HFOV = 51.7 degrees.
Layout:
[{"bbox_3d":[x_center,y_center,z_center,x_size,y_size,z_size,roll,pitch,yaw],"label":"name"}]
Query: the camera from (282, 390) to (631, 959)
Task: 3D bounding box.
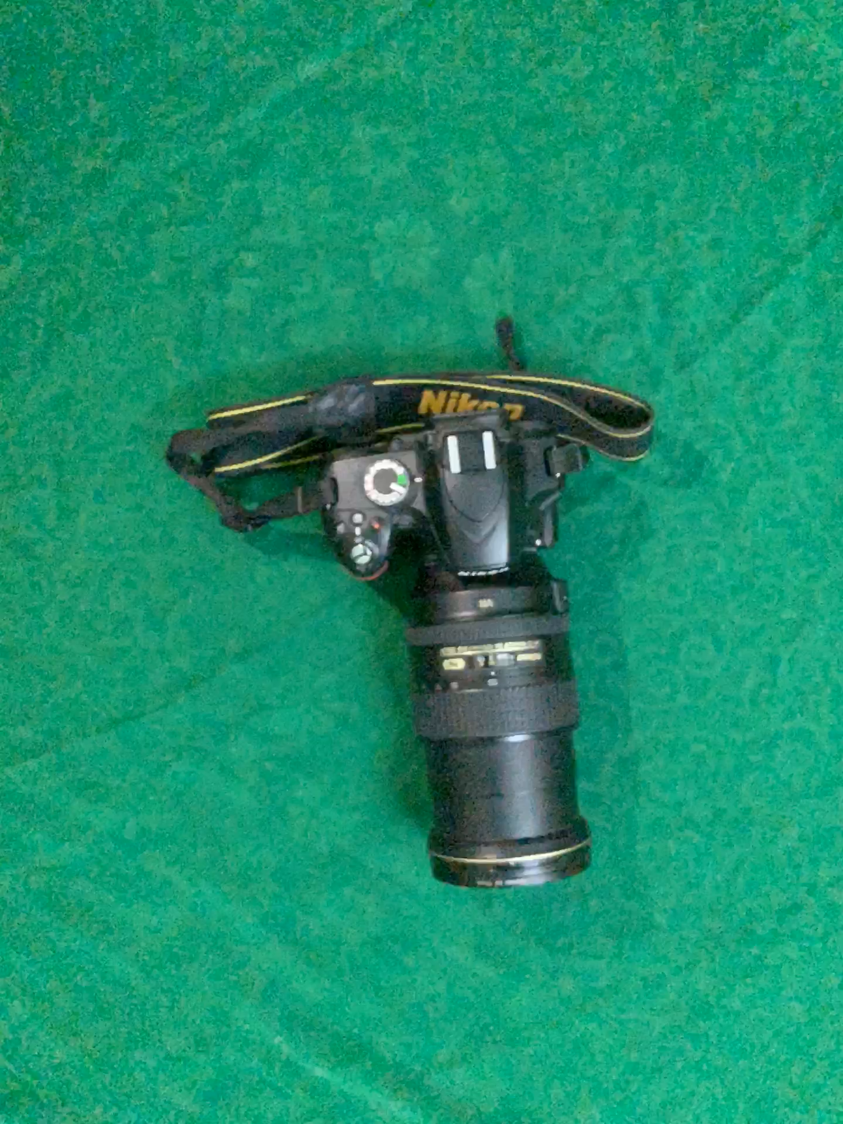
[{"bbox_3d":[0.015,0.050,0.427,0.122,0.088,0.234,-8,86,1],"label":"camera"}]
